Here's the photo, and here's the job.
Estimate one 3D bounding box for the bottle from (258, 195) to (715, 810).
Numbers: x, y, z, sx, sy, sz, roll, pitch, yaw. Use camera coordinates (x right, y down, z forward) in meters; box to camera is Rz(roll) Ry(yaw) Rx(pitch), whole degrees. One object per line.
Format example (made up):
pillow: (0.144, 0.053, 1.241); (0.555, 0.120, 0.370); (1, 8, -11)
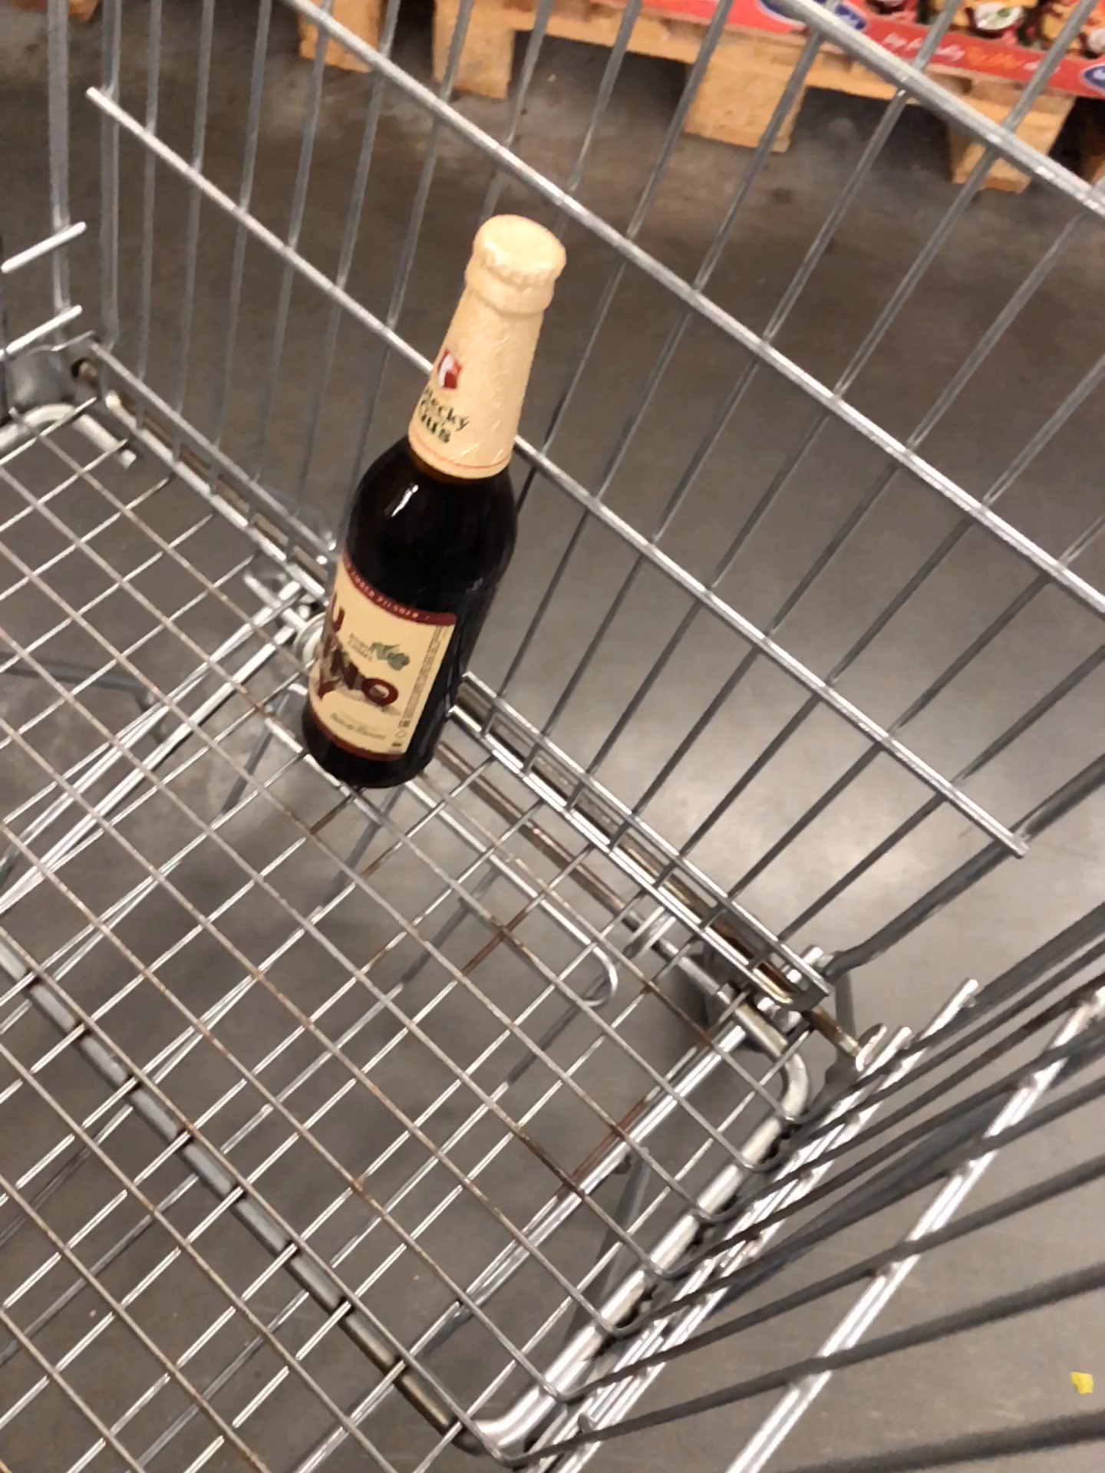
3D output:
bottle: (-0.041, -0.079, 0.478); (0.080, 0.239, 0.080); (13, 49, -16)
